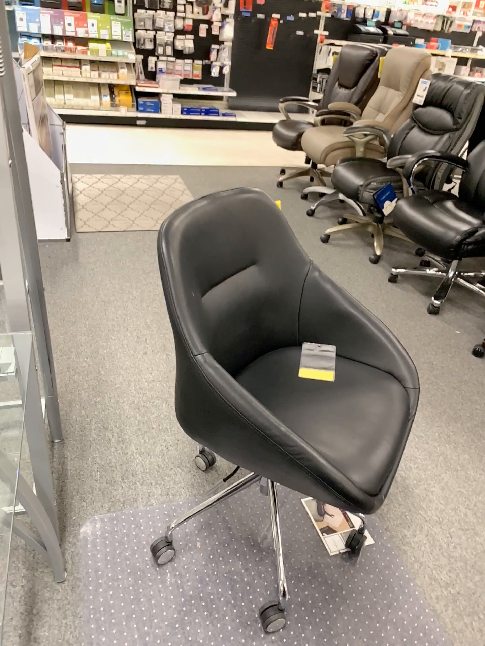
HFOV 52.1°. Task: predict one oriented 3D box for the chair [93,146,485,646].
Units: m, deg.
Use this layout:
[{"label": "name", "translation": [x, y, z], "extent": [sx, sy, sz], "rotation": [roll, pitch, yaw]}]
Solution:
[{"label": "chair", "translation": [0.144, 0.148, 1.194], "extent": [0.620, 0.885, 0.673], "rotation": [20, 35, 20]}]
